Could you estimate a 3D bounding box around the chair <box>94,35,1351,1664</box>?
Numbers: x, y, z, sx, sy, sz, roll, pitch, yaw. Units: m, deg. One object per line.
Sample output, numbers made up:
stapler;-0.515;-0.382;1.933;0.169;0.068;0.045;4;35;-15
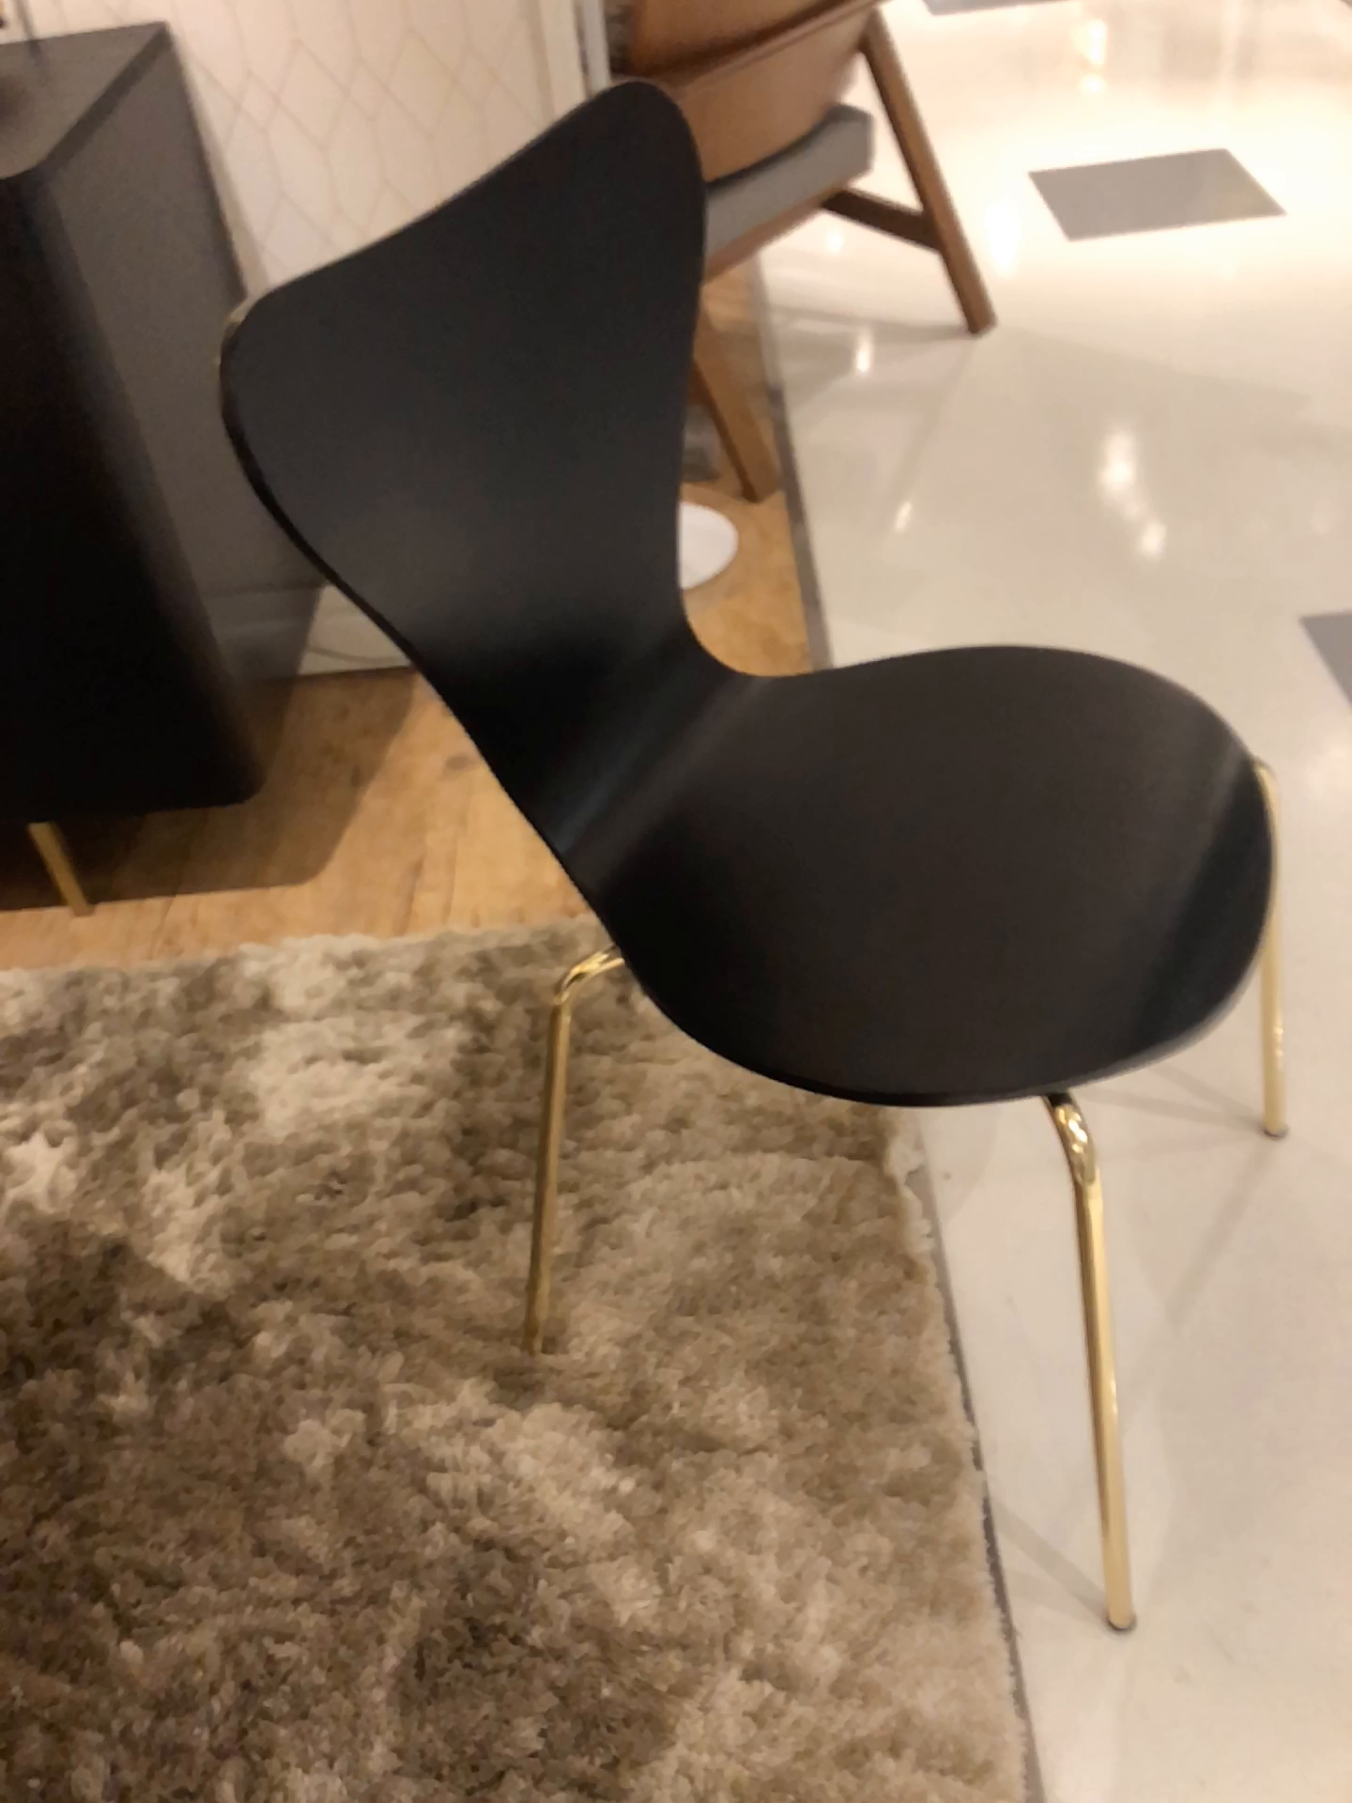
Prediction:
chair;0.138;-0.035;0.914;0.501;0.755;0.503;16;47;24
